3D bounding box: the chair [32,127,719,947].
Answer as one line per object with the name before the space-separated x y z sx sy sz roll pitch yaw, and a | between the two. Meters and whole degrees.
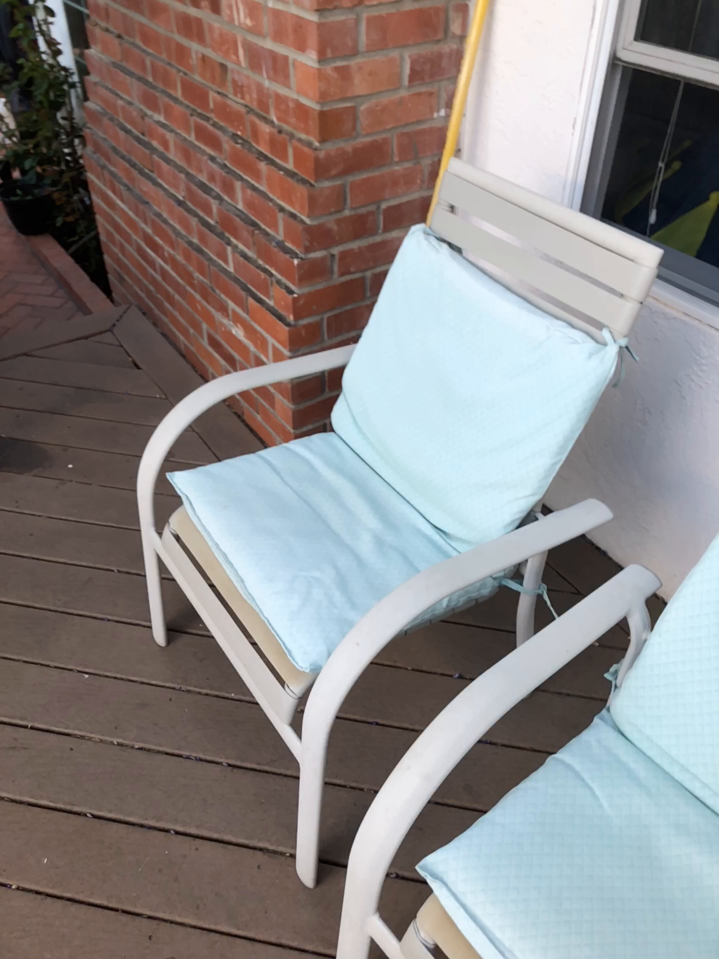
chair | 0.121 0.044 1.473 0.972 0.994 0.743 -24 46 -26
